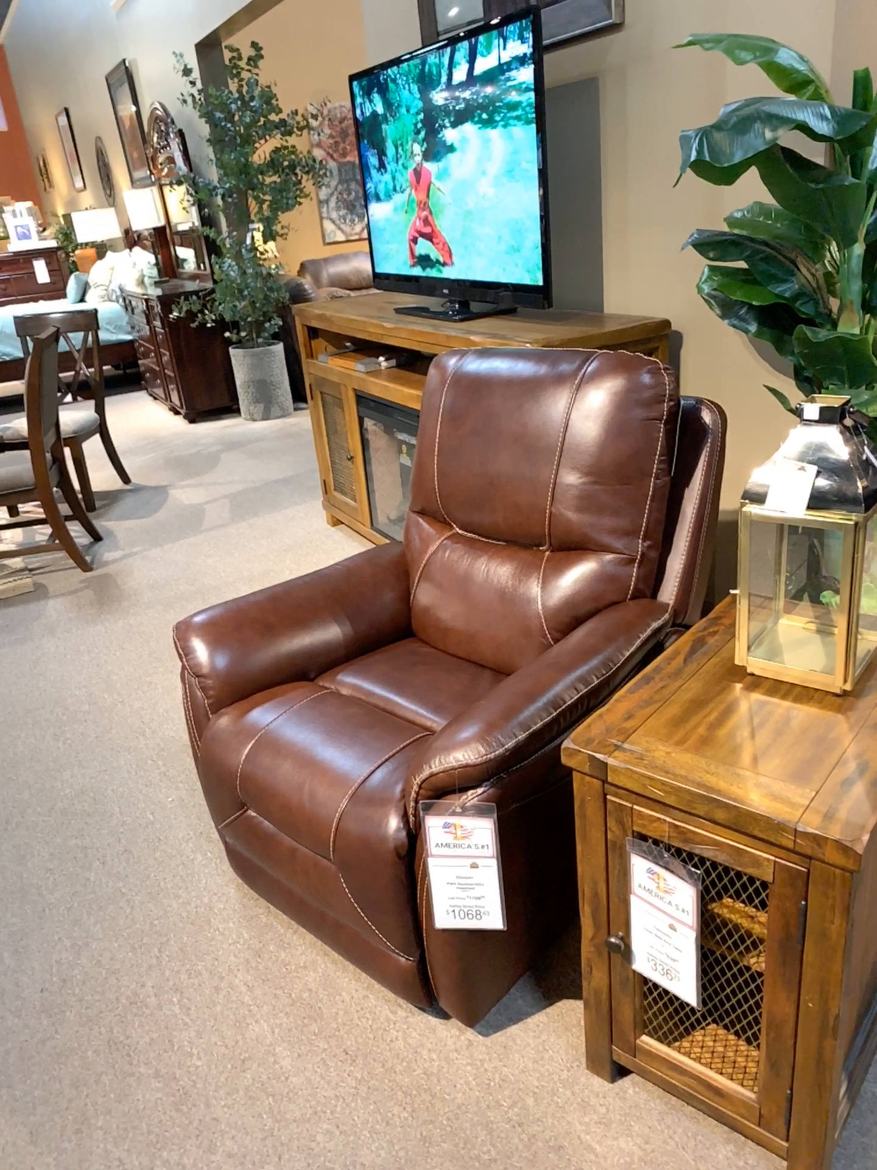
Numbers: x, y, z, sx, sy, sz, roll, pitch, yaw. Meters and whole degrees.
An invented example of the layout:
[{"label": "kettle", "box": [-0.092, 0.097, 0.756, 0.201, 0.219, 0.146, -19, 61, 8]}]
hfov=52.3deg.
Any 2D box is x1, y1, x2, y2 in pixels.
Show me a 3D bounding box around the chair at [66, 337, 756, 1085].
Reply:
[{"label": "chair", "box": [0.007, 0.093, 1.791, 0.850, 0.975, 0.914, 16, 31, 41]}]
